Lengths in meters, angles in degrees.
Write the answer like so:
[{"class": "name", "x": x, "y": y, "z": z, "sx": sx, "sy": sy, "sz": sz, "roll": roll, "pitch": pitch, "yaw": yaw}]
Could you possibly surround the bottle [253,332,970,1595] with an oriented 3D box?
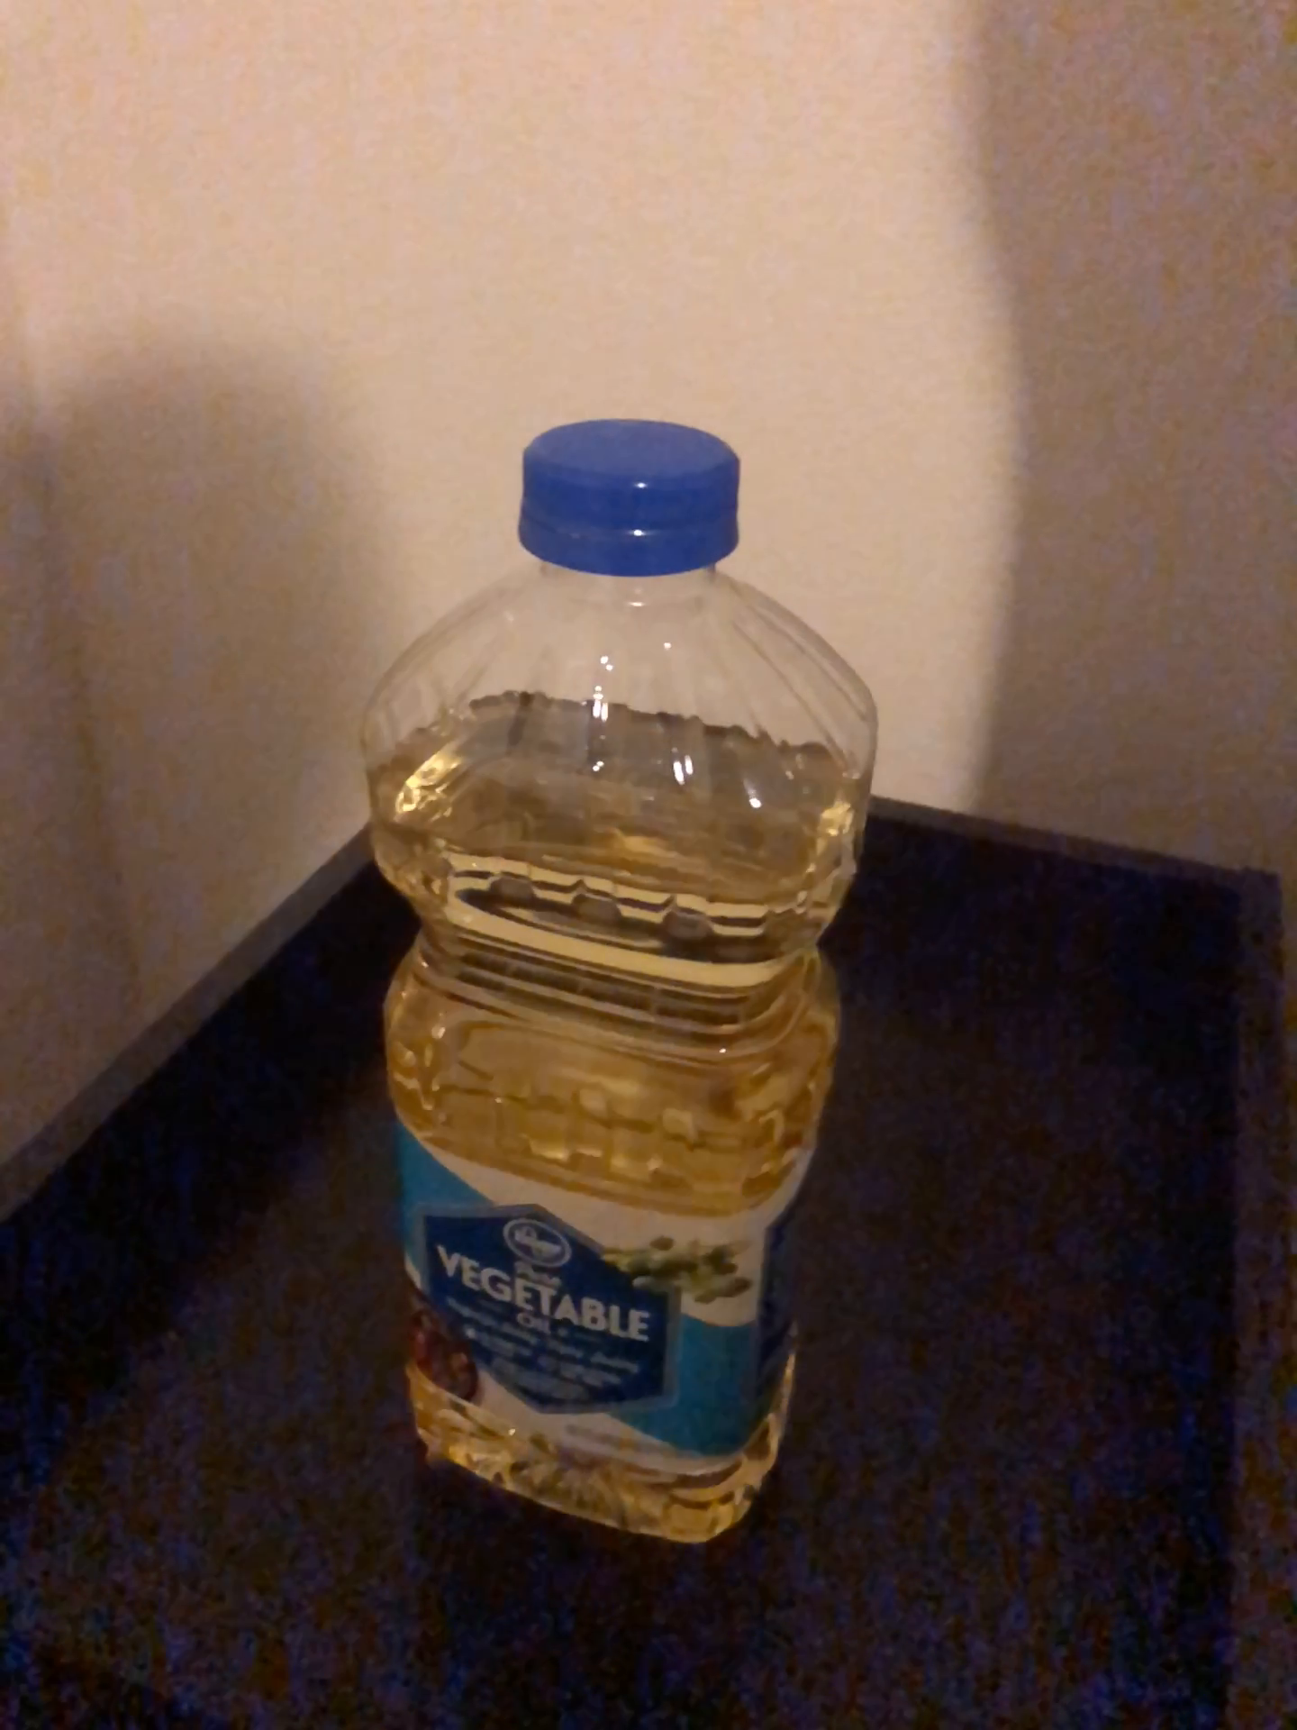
[{"class": "bottle", "x": -0.007, "y": 0.033, "z": 0.337, "sx": 0.110, "sy": 0.275, "sz": 0.084, "roll": 12, "pitch": 32, "yaw": 16}]
